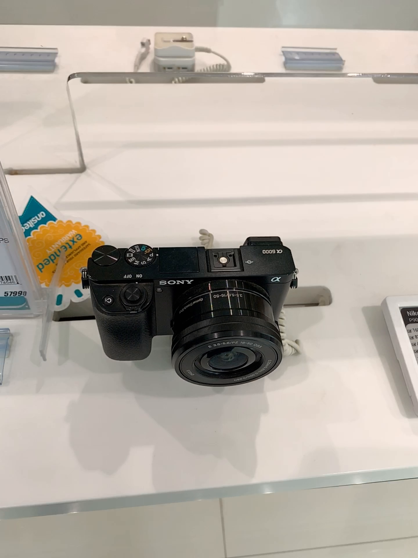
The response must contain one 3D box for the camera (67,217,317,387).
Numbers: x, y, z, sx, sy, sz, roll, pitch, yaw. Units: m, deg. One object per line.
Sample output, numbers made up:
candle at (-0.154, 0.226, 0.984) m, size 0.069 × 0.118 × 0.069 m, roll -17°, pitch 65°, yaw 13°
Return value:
camera at (-0.010, 0.013, 0.222) m, size 0.104 × 0.063 × 0.059 m, roll -2°, pitch 55°, yaw -6°
